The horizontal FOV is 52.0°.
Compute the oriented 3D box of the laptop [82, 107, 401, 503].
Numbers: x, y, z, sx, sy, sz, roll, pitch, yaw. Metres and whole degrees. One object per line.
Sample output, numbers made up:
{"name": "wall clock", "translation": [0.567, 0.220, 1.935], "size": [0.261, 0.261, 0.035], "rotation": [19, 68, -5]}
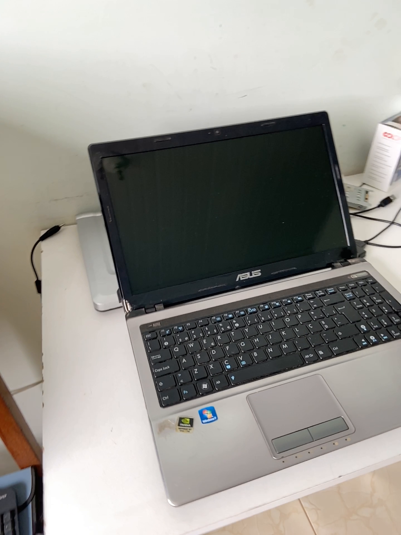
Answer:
{"name": "laptop", "translation": [0.083, -0.019, 0.516], "size": [0.376, 0.179, 0.417], "rotation": [-13, 41, -12]}
